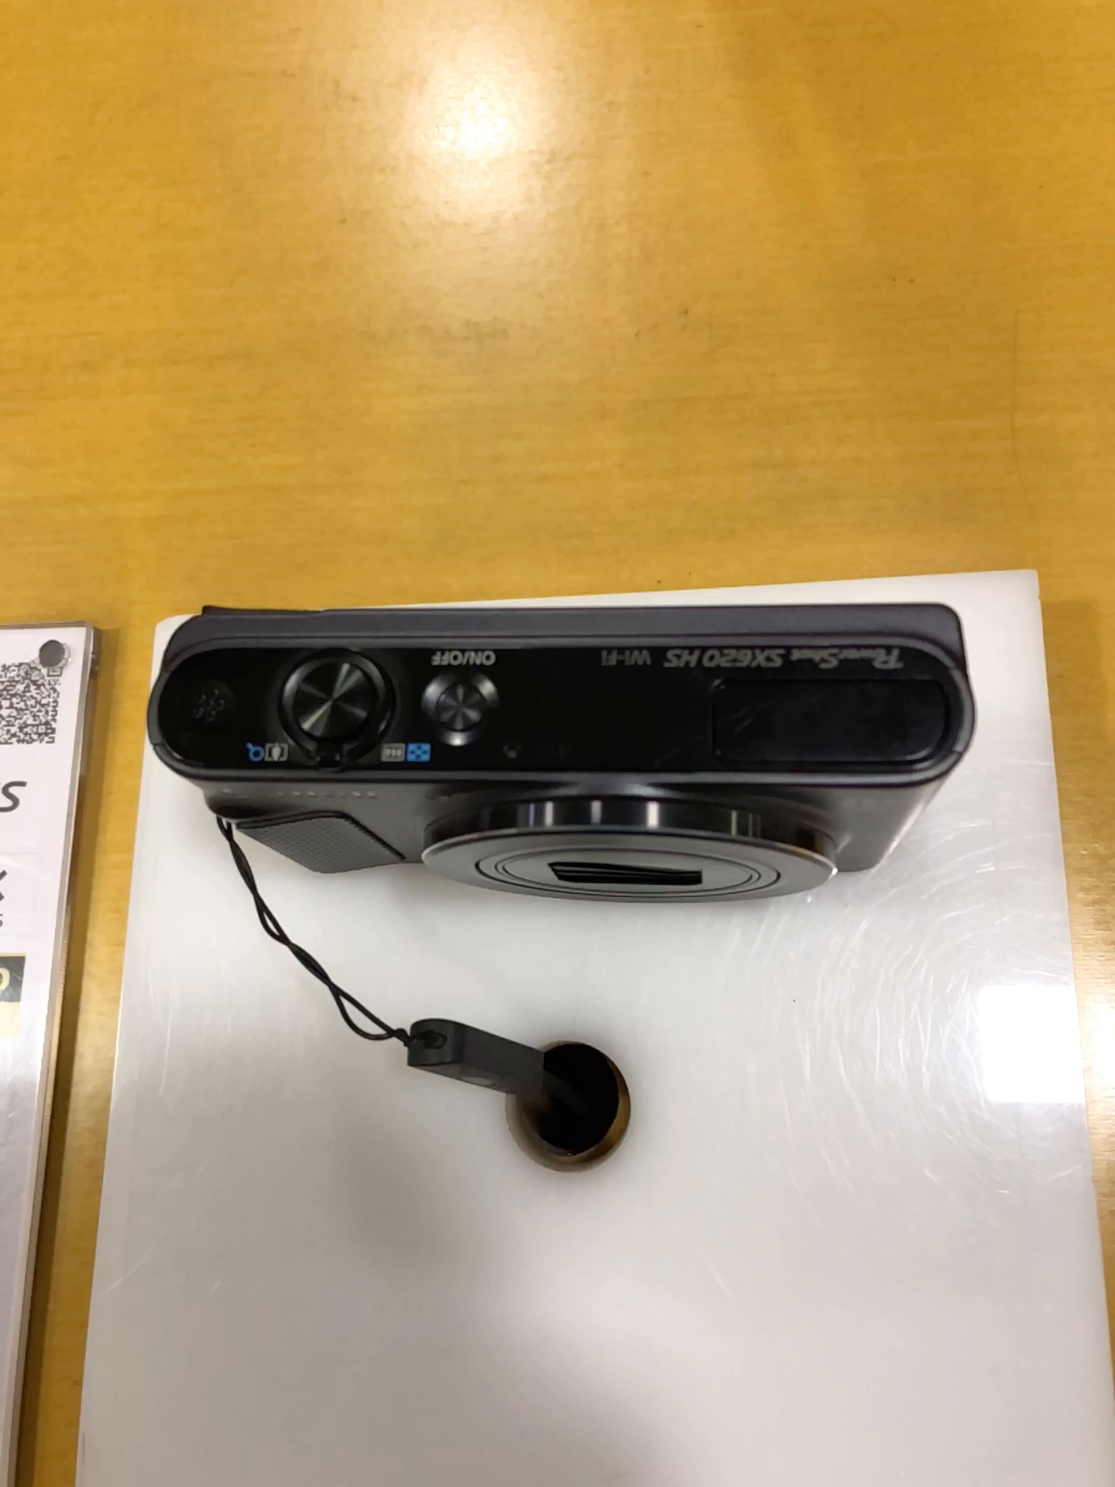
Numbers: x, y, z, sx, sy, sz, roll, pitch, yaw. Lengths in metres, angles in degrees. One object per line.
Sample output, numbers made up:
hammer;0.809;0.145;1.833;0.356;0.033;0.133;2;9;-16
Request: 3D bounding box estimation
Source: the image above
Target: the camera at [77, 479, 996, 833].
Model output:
camera;-0.001;-0.008;0.181;0.110;0.060;0.030;-2;75;6
